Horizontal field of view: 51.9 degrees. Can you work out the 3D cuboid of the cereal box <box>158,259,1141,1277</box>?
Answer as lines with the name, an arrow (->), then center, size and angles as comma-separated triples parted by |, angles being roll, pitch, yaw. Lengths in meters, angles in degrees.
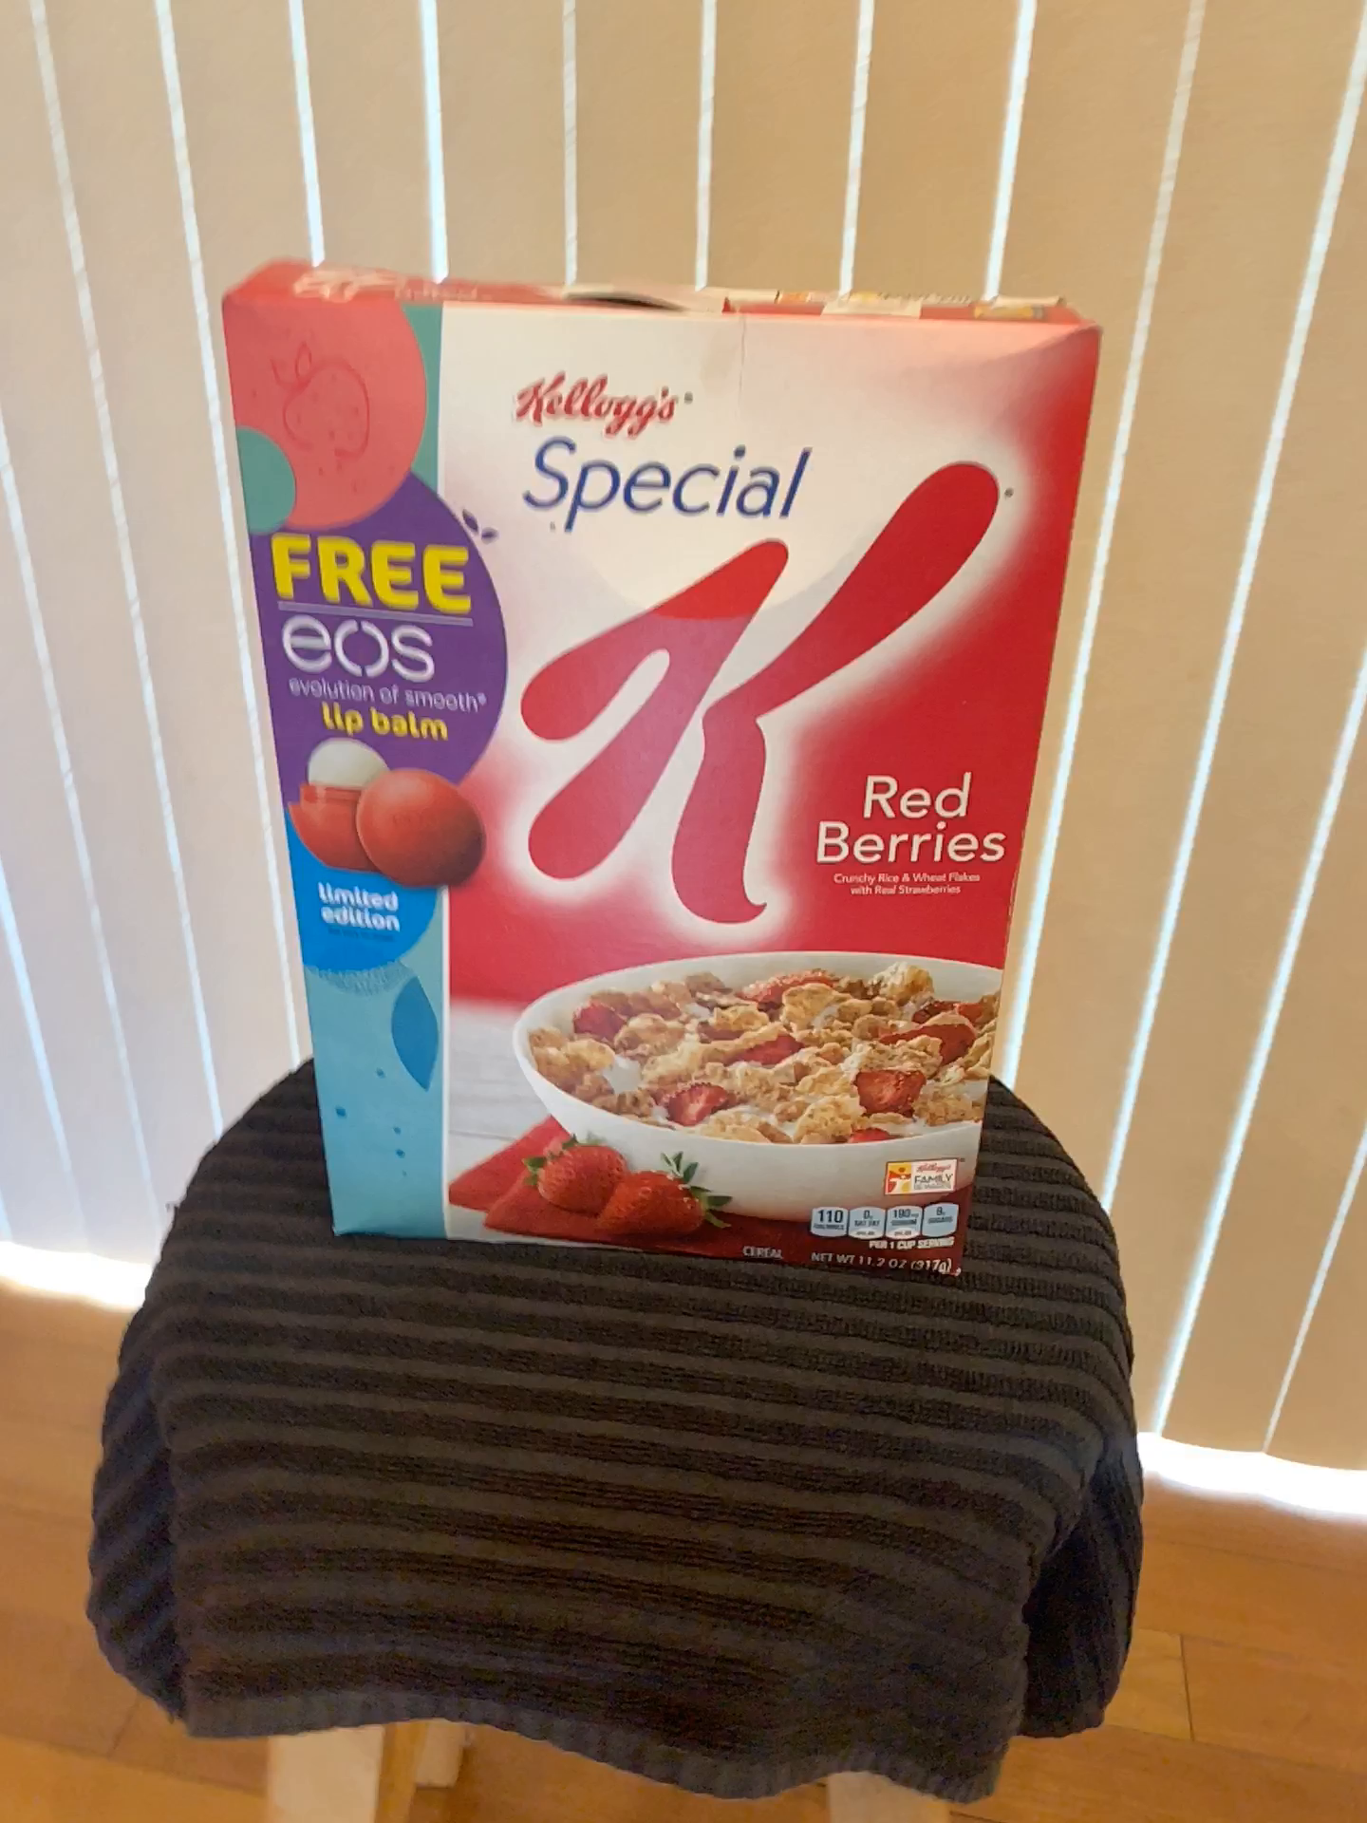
cereal box -> -0.011, -0.025, 0.386 | 0.210, 0.268, 0.050 | 3, 29, 3
